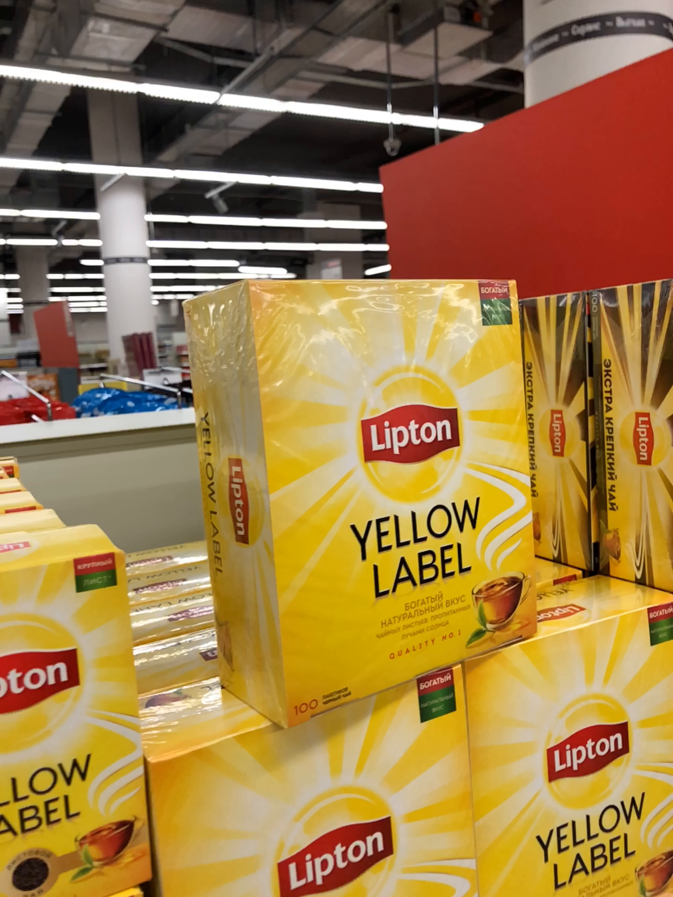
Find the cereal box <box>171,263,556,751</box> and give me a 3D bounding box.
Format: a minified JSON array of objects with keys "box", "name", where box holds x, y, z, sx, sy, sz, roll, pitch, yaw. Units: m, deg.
[{"box":[0.016,0.013,0.323,0.140,0.170,0.070,-8,6,-33],"name":"cereal box"}]
